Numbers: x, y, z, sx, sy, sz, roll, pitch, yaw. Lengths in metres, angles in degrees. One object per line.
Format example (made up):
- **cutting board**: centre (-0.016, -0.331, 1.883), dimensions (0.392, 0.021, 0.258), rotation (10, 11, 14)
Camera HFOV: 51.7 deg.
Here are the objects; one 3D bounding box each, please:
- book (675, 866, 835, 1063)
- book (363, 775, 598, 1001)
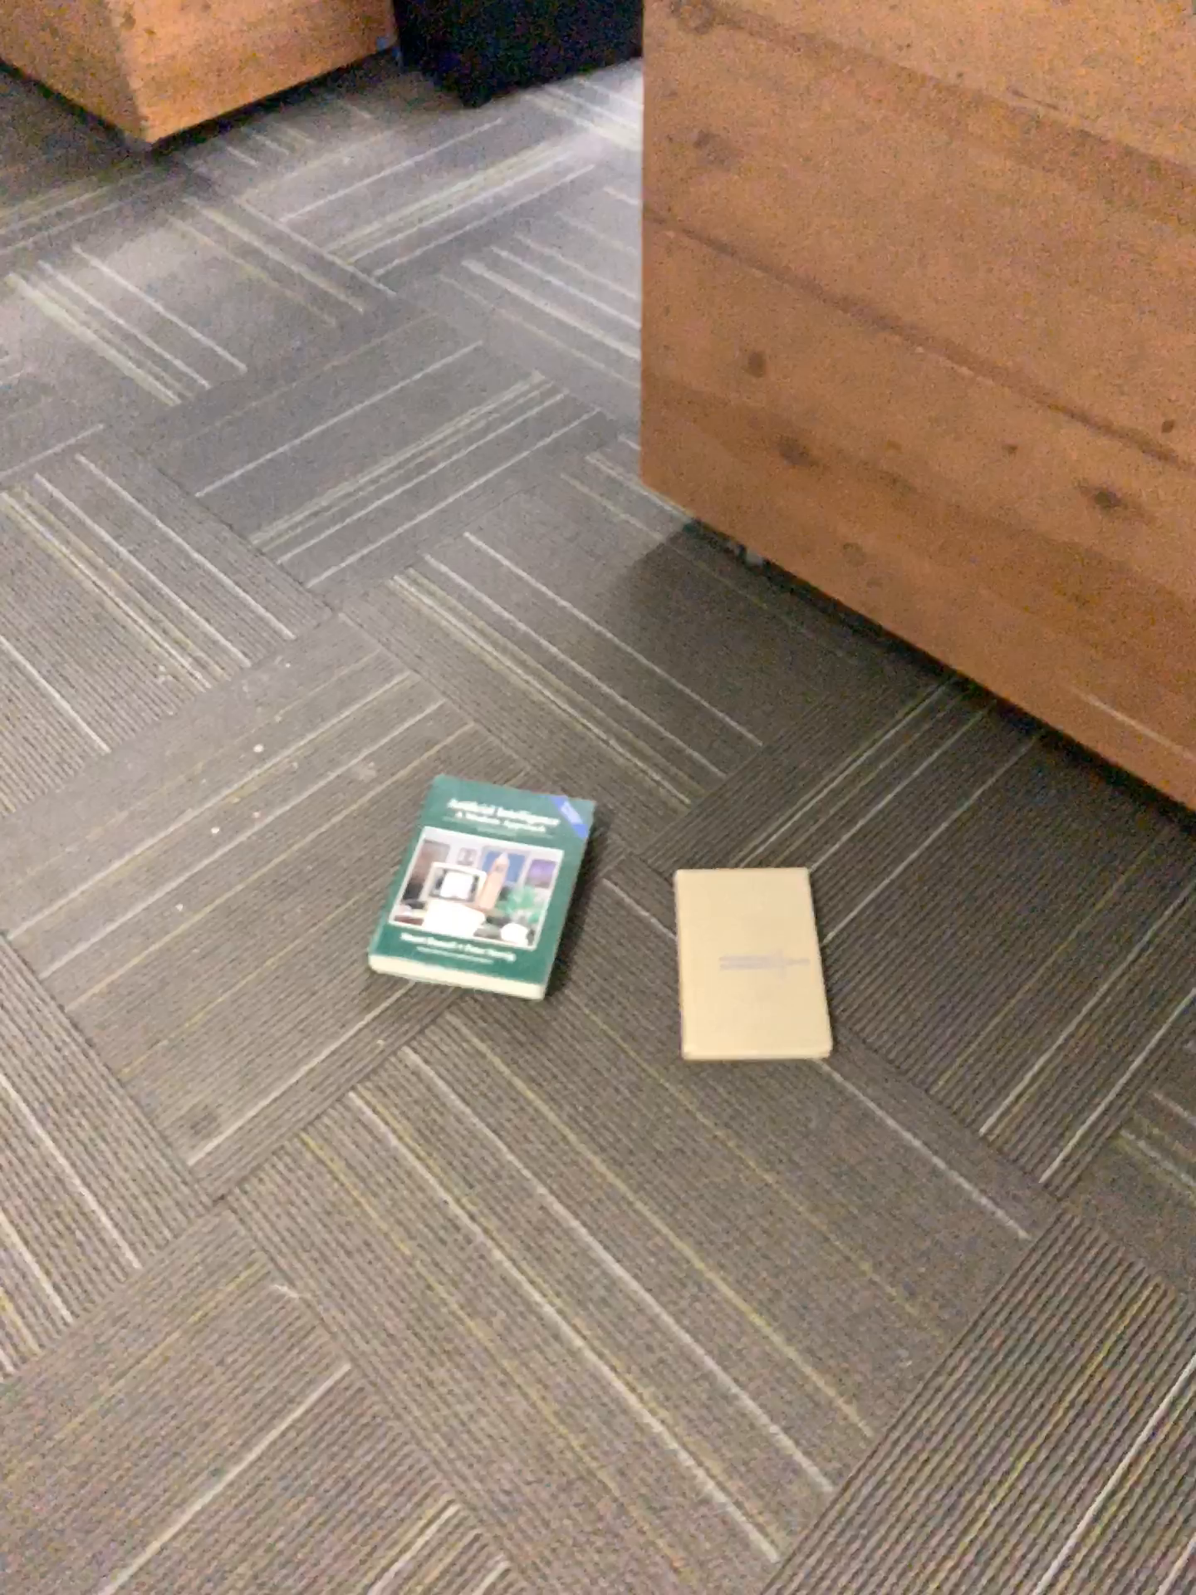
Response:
- **book**: centre (0.171, 0.183, 1.388), dimensions (0.160, 0.020, 0.241), rotation (-1, 52, 1)
- **book**: centre (-0.130, 0.098, 1.439), dimensions (0.210, 0.030, 0.261), rotation (9, 53, 9)
